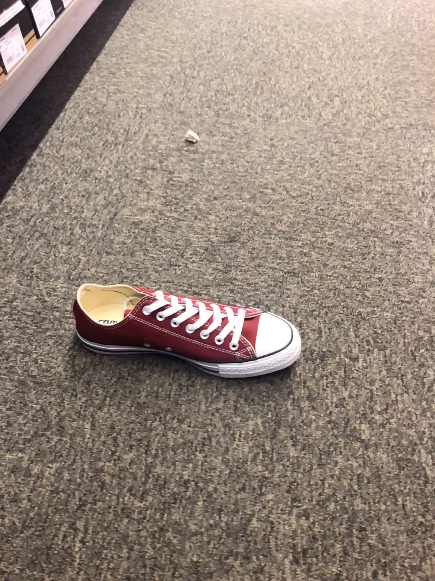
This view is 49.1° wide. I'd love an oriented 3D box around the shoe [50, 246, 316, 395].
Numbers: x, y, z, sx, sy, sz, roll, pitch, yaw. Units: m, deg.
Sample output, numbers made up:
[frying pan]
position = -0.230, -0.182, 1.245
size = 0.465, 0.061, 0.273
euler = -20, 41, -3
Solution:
[shoe]
position = -0.034, 0.033, 0.563
size = 0.280, 0.090, 0.101
euler = 8, 50, 6
